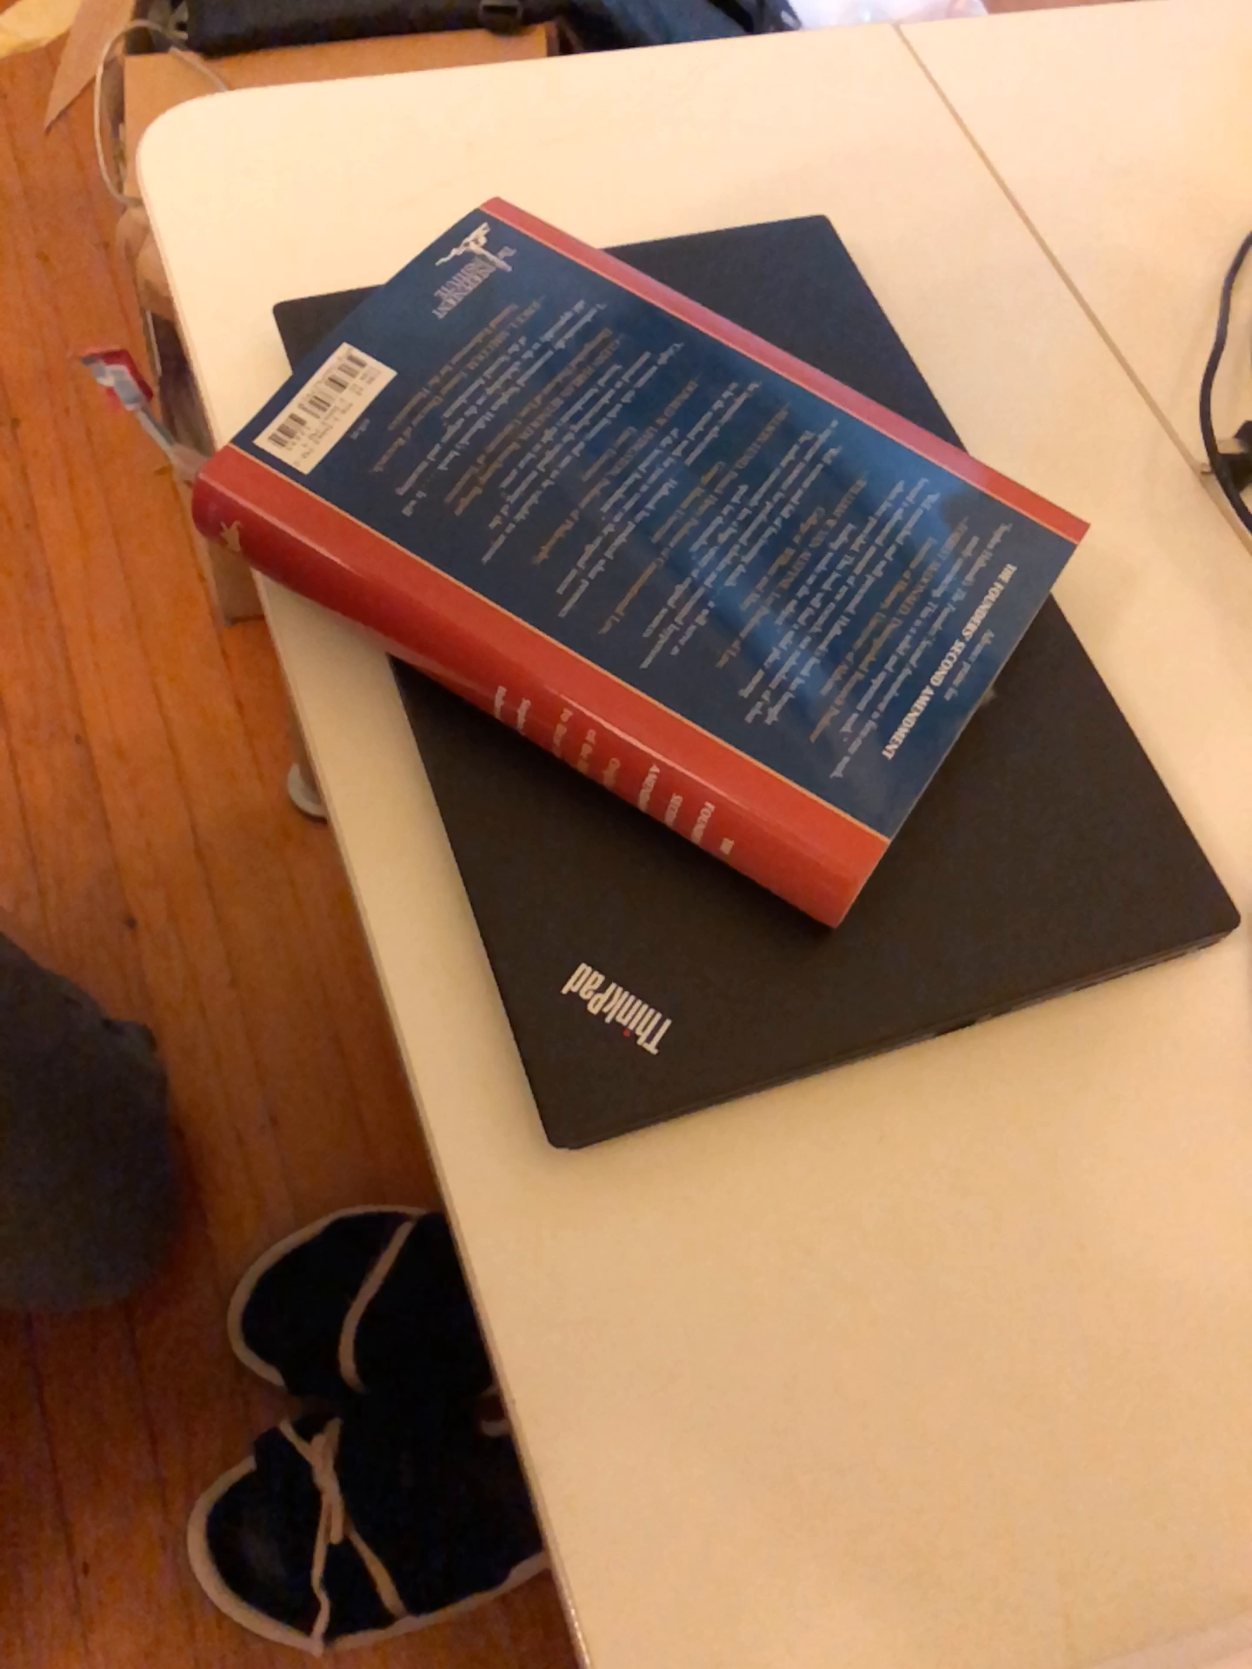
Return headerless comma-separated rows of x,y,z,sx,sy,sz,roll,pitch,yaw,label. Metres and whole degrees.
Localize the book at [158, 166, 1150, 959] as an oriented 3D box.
0.011,-0.098,0.424,0.240,0.040,0.171,32,61,12,book
